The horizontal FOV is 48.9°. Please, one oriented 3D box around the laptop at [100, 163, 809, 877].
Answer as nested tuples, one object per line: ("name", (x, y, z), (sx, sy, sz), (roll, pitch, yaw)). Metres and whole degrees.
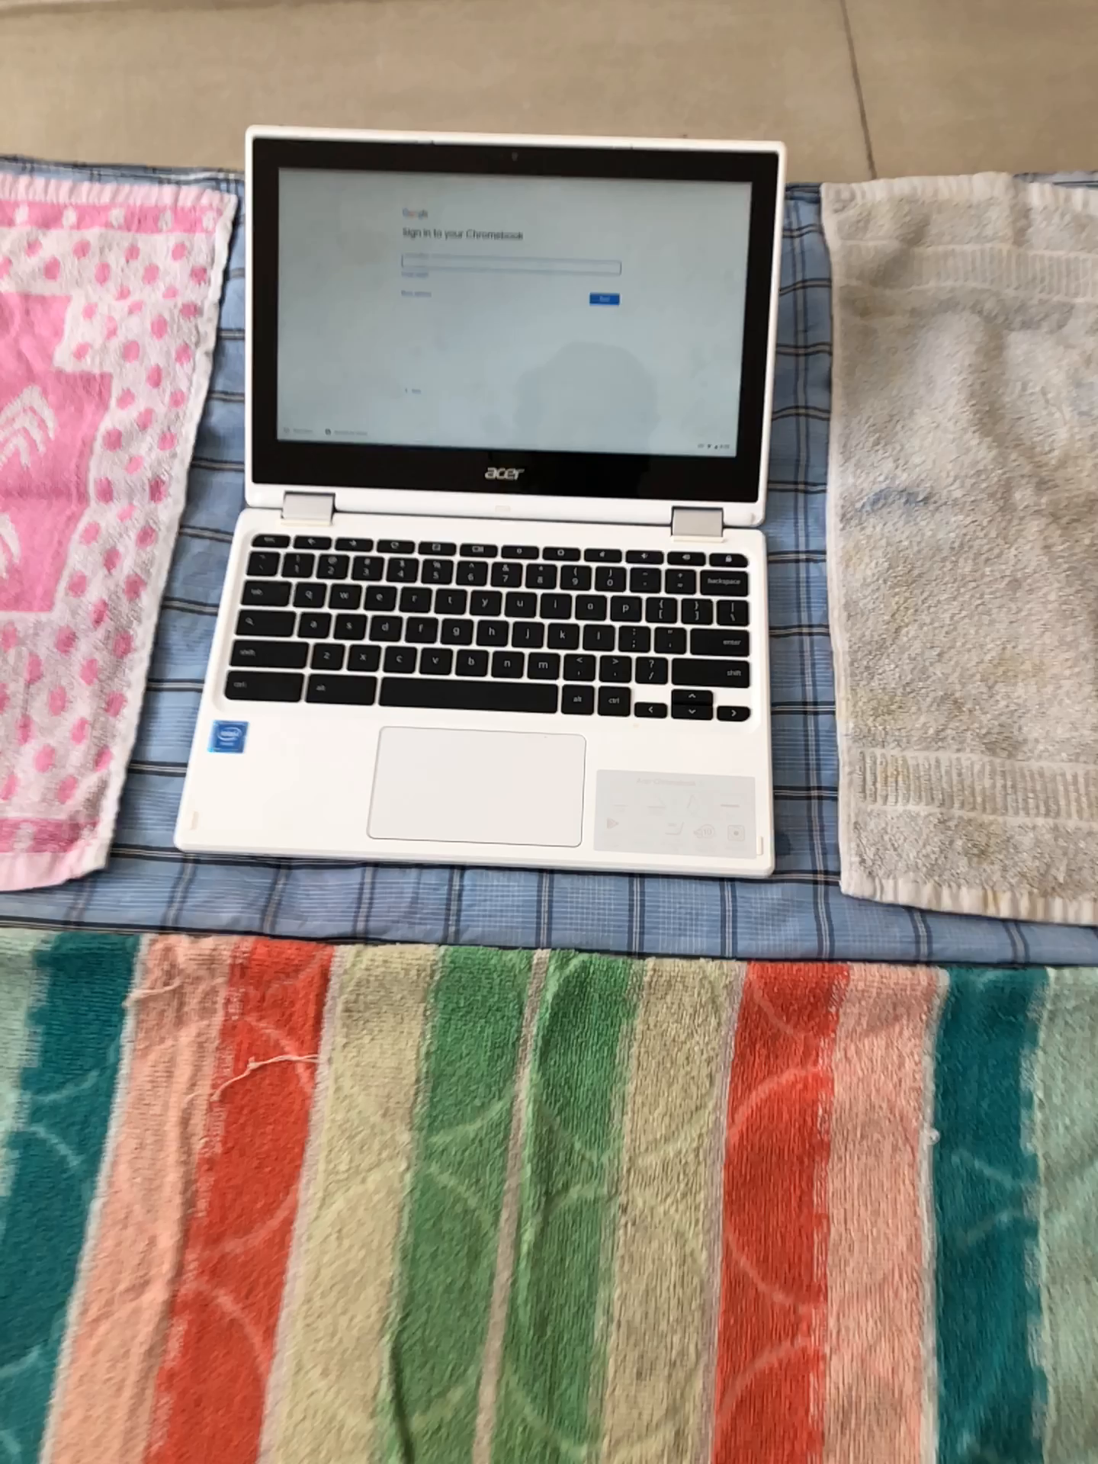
("laptop", (-0.026, -0.119, 0.614), (0.285, 0.101, 0.368), (3, 64, 2))
